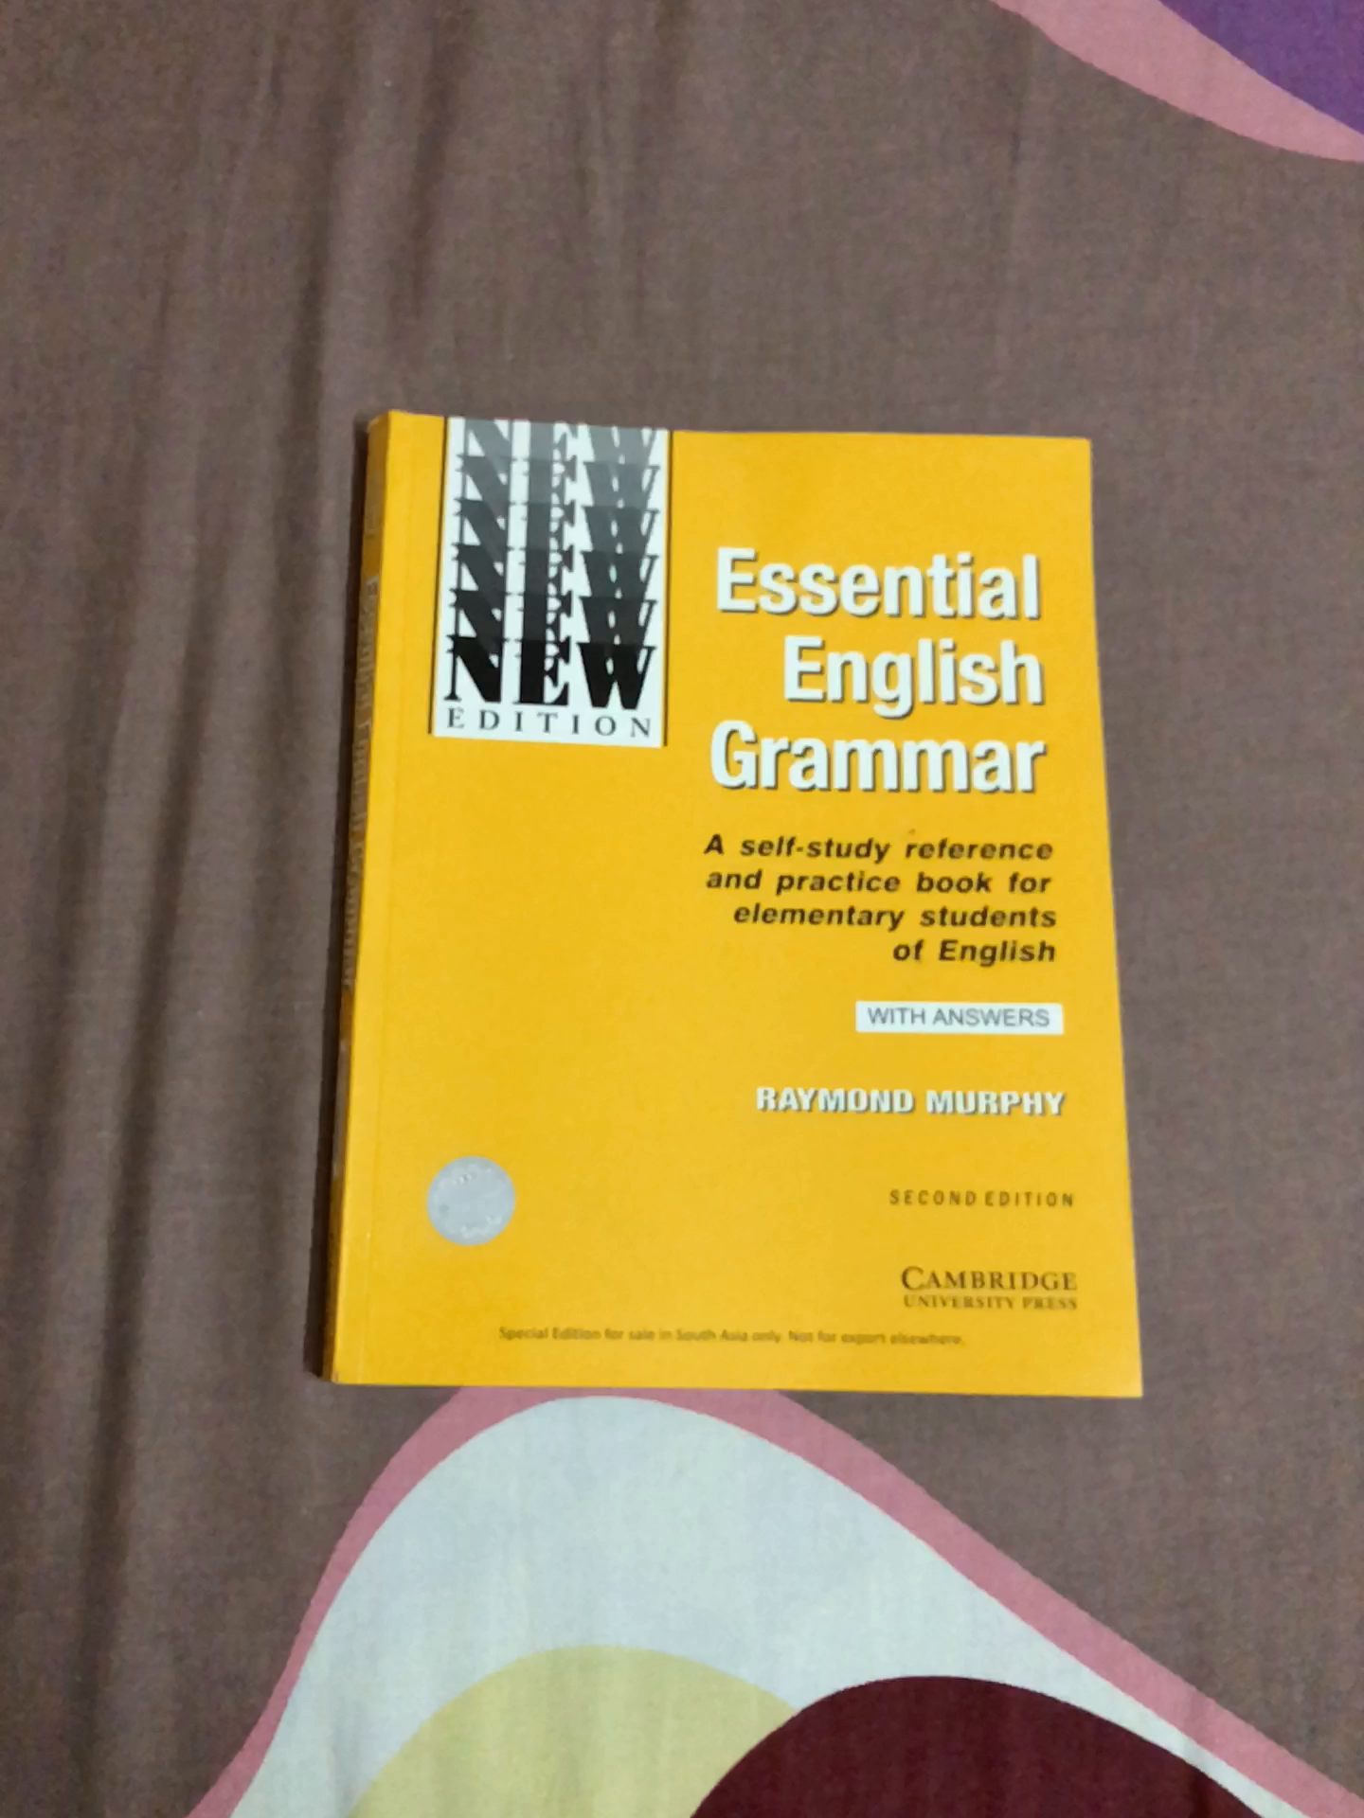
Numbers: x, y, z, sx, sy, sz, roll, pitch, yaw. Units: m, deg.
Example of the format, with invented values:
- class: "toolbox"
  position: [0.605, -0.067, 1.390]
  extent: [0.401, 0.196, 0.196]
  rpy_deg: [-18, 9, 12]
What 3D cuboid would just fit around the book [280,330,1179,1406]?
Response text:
- class: "book"
  position: [0.013, -0.013, 0.369]
  extent: [0.190, 0.040, 0.250]
  rpy_deg: [2, 76, -4]
